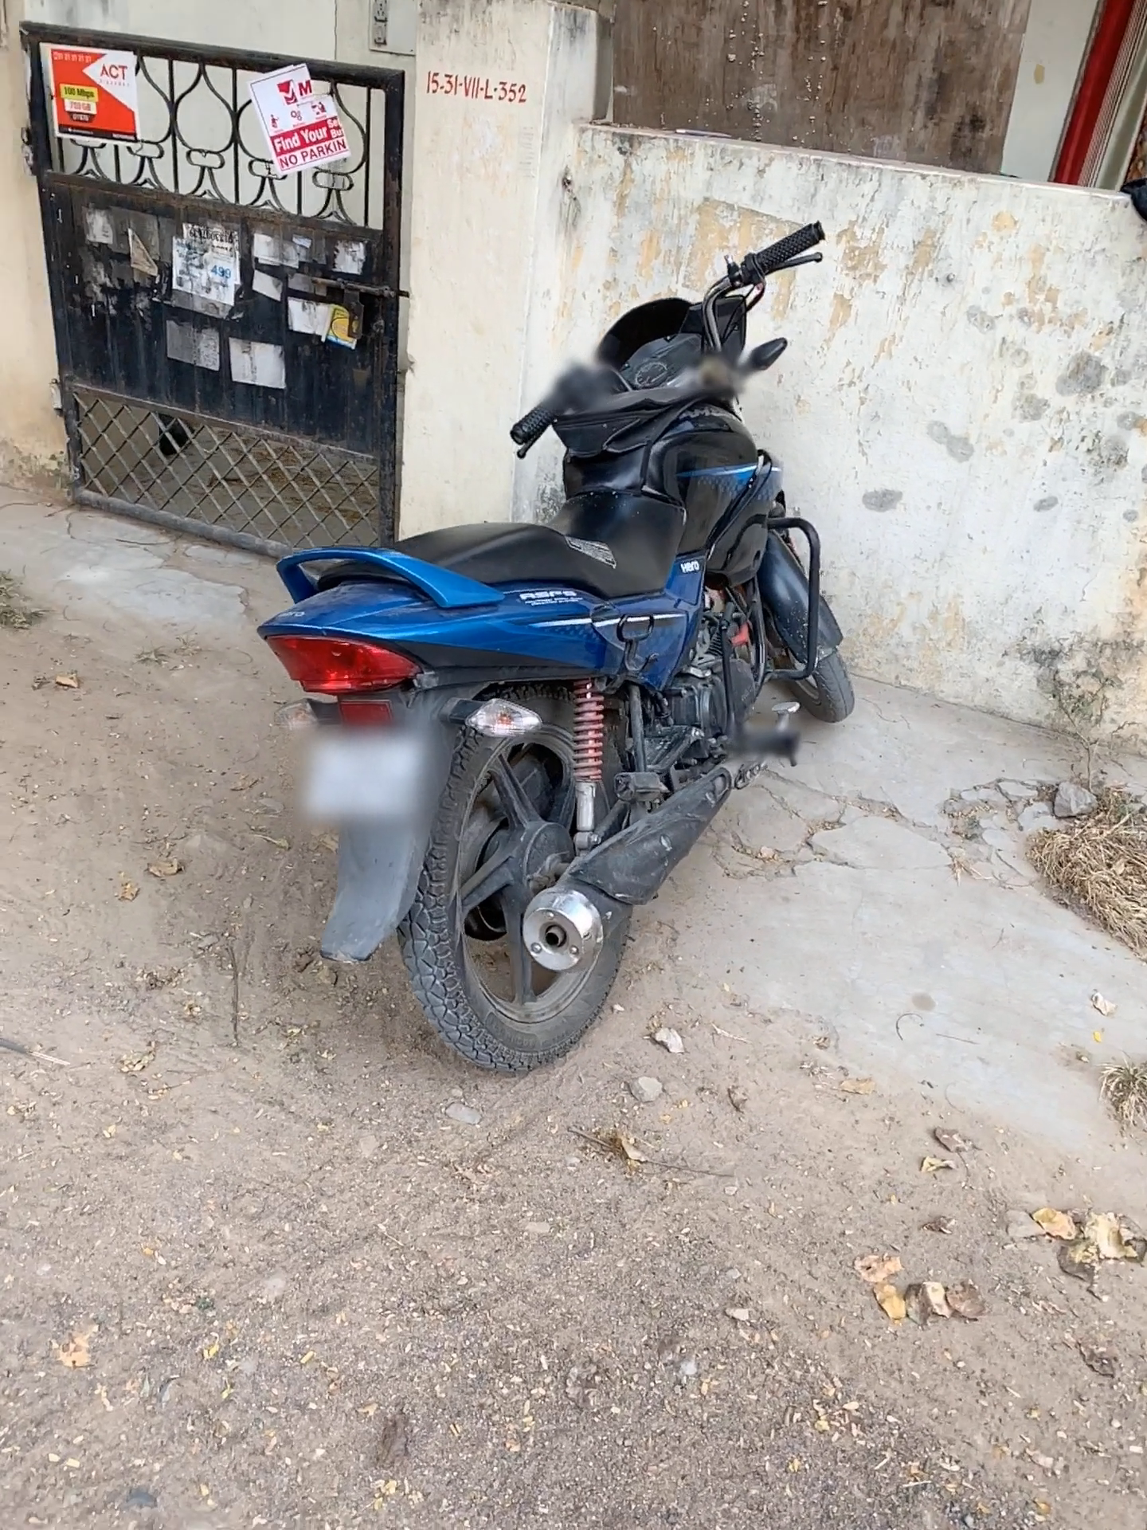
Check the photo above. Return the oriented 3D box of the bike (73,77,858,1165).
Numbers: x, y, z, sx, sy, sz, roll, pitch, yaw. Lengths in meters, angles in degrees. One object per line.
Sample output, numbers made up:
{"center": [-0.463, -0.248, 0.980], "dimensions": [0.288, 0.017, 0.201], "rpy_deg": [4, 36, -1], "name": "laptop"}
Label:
{"center": [-0.072, -0.512, 2.255], "dimensions": [0.754, 1.233, 1.712], "rpy_deg": [15, 35, 14], "name": "bike"}
